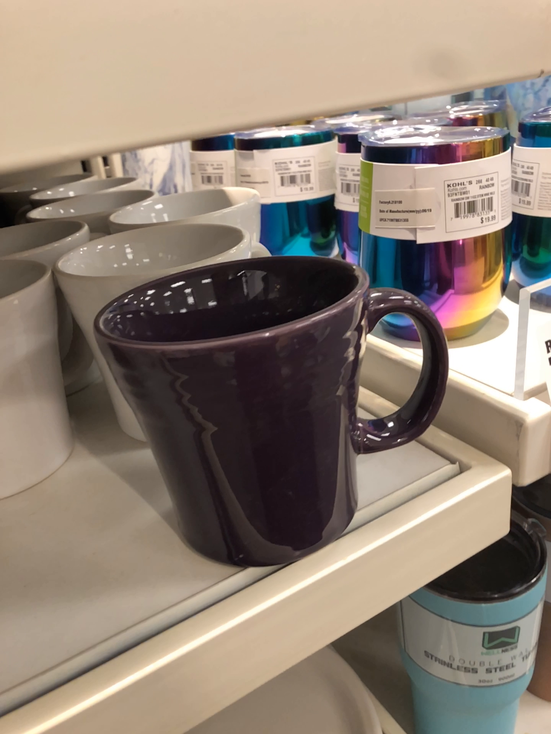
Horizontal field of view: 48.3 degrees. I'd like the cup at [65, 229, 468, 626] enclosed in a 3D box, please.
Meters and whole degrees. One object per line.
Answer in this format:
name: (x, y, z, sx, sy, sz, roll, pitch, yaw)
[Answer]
cup: (-0.001, 0.012, 0.256, 0.127, 0.099, 0.090, -20, 29, -25)
